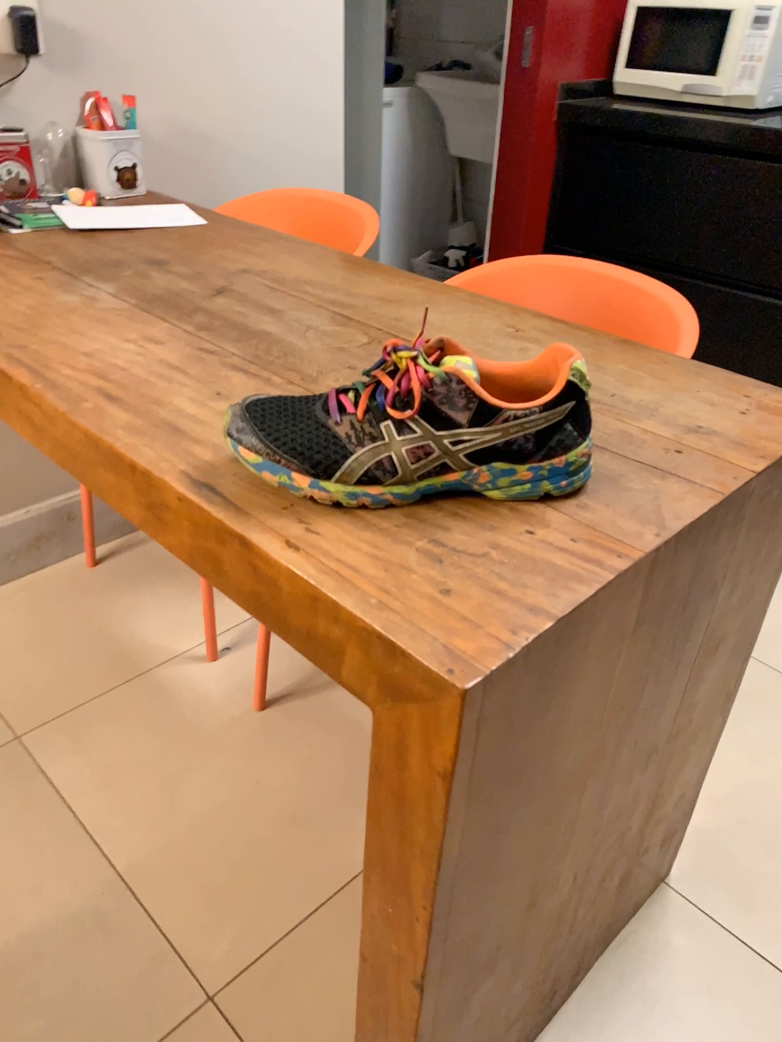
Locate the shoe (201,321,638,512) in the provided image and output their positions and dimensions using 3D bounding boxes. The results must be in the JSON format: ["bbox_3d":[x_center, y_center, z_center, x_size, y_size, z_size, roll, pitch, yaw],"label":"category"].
[{"bbox_3d":[0.017,-0.087,0.639,0.312,0.112,0.108,-1,33,-6],"label":"shoe"}]
